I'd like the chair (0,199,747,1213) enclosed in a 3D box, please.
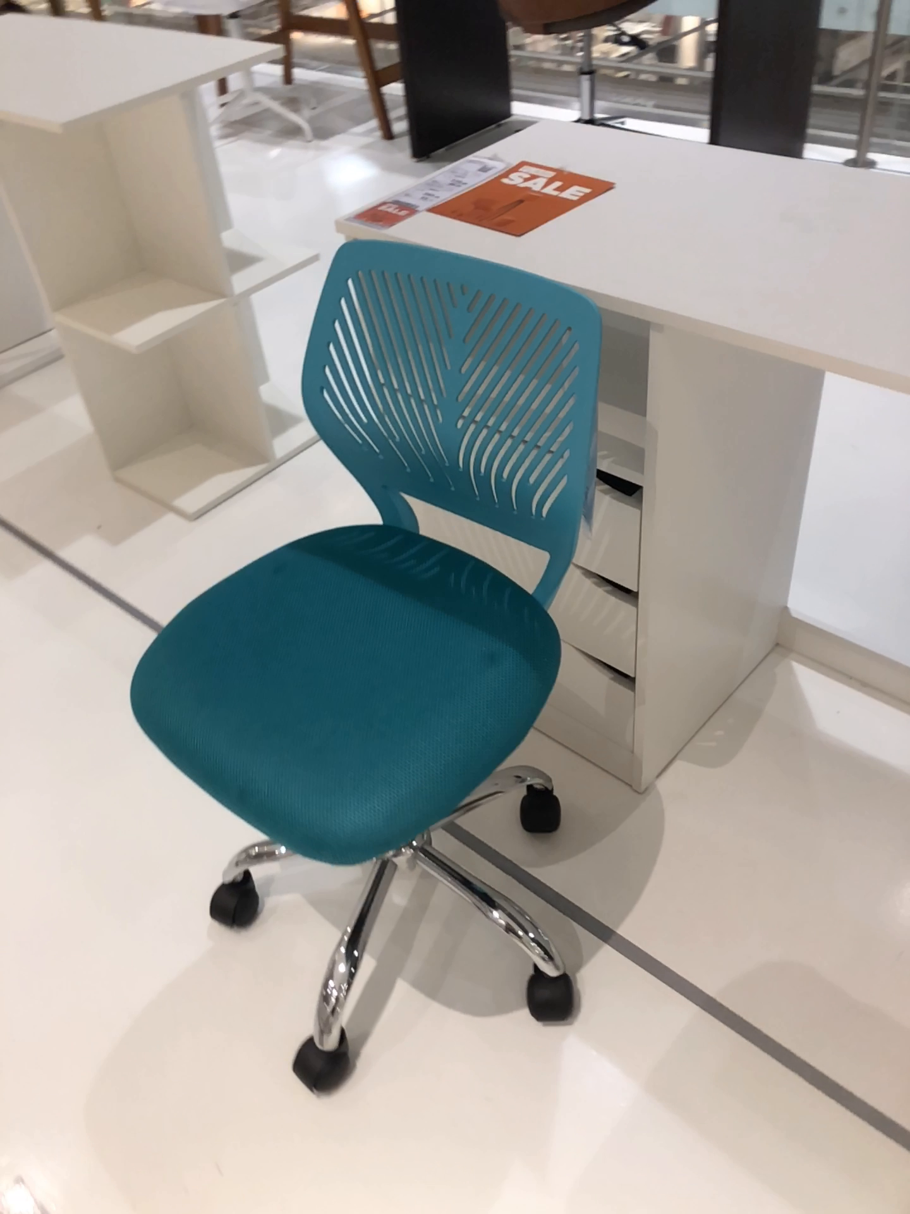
[{"bbox_3d":[-0.094,0.081,0.990,0.502,0.725,0.502,25,50,32],"label":"chair"}]
